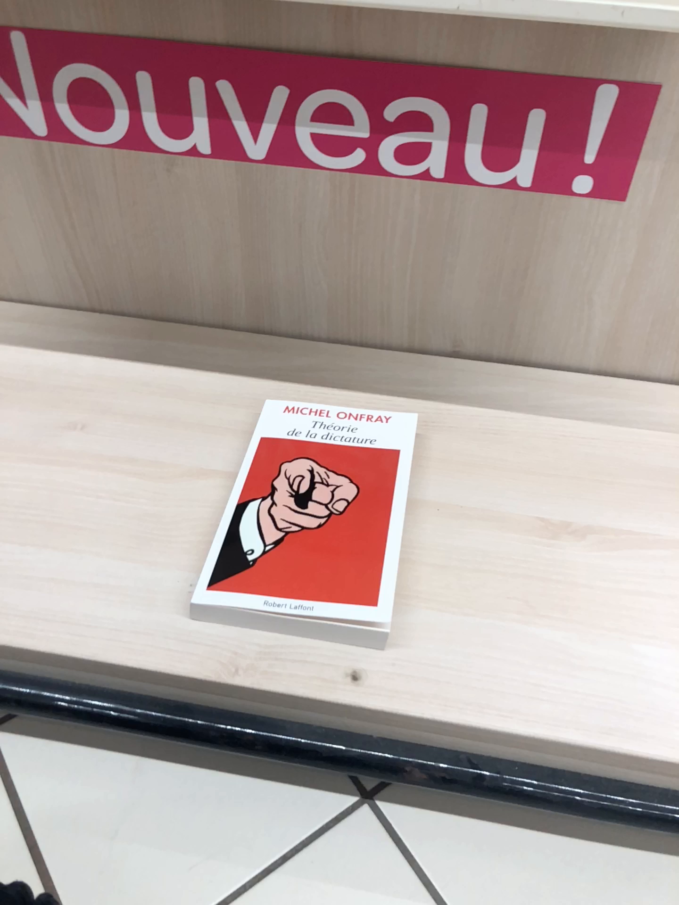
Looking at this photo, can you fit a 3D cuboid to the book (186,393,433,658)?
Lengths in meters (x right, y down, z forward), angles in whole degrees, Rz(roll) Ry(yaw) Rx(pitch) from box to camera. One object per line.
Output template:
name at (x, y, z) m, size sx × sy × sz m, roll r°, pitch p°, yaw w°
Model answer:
book at (-0.010, 0.040, 0.539) m, size 0.138 × 0.029 × 0.208 m, roll 8°, pitch 43°, yaw 6°
